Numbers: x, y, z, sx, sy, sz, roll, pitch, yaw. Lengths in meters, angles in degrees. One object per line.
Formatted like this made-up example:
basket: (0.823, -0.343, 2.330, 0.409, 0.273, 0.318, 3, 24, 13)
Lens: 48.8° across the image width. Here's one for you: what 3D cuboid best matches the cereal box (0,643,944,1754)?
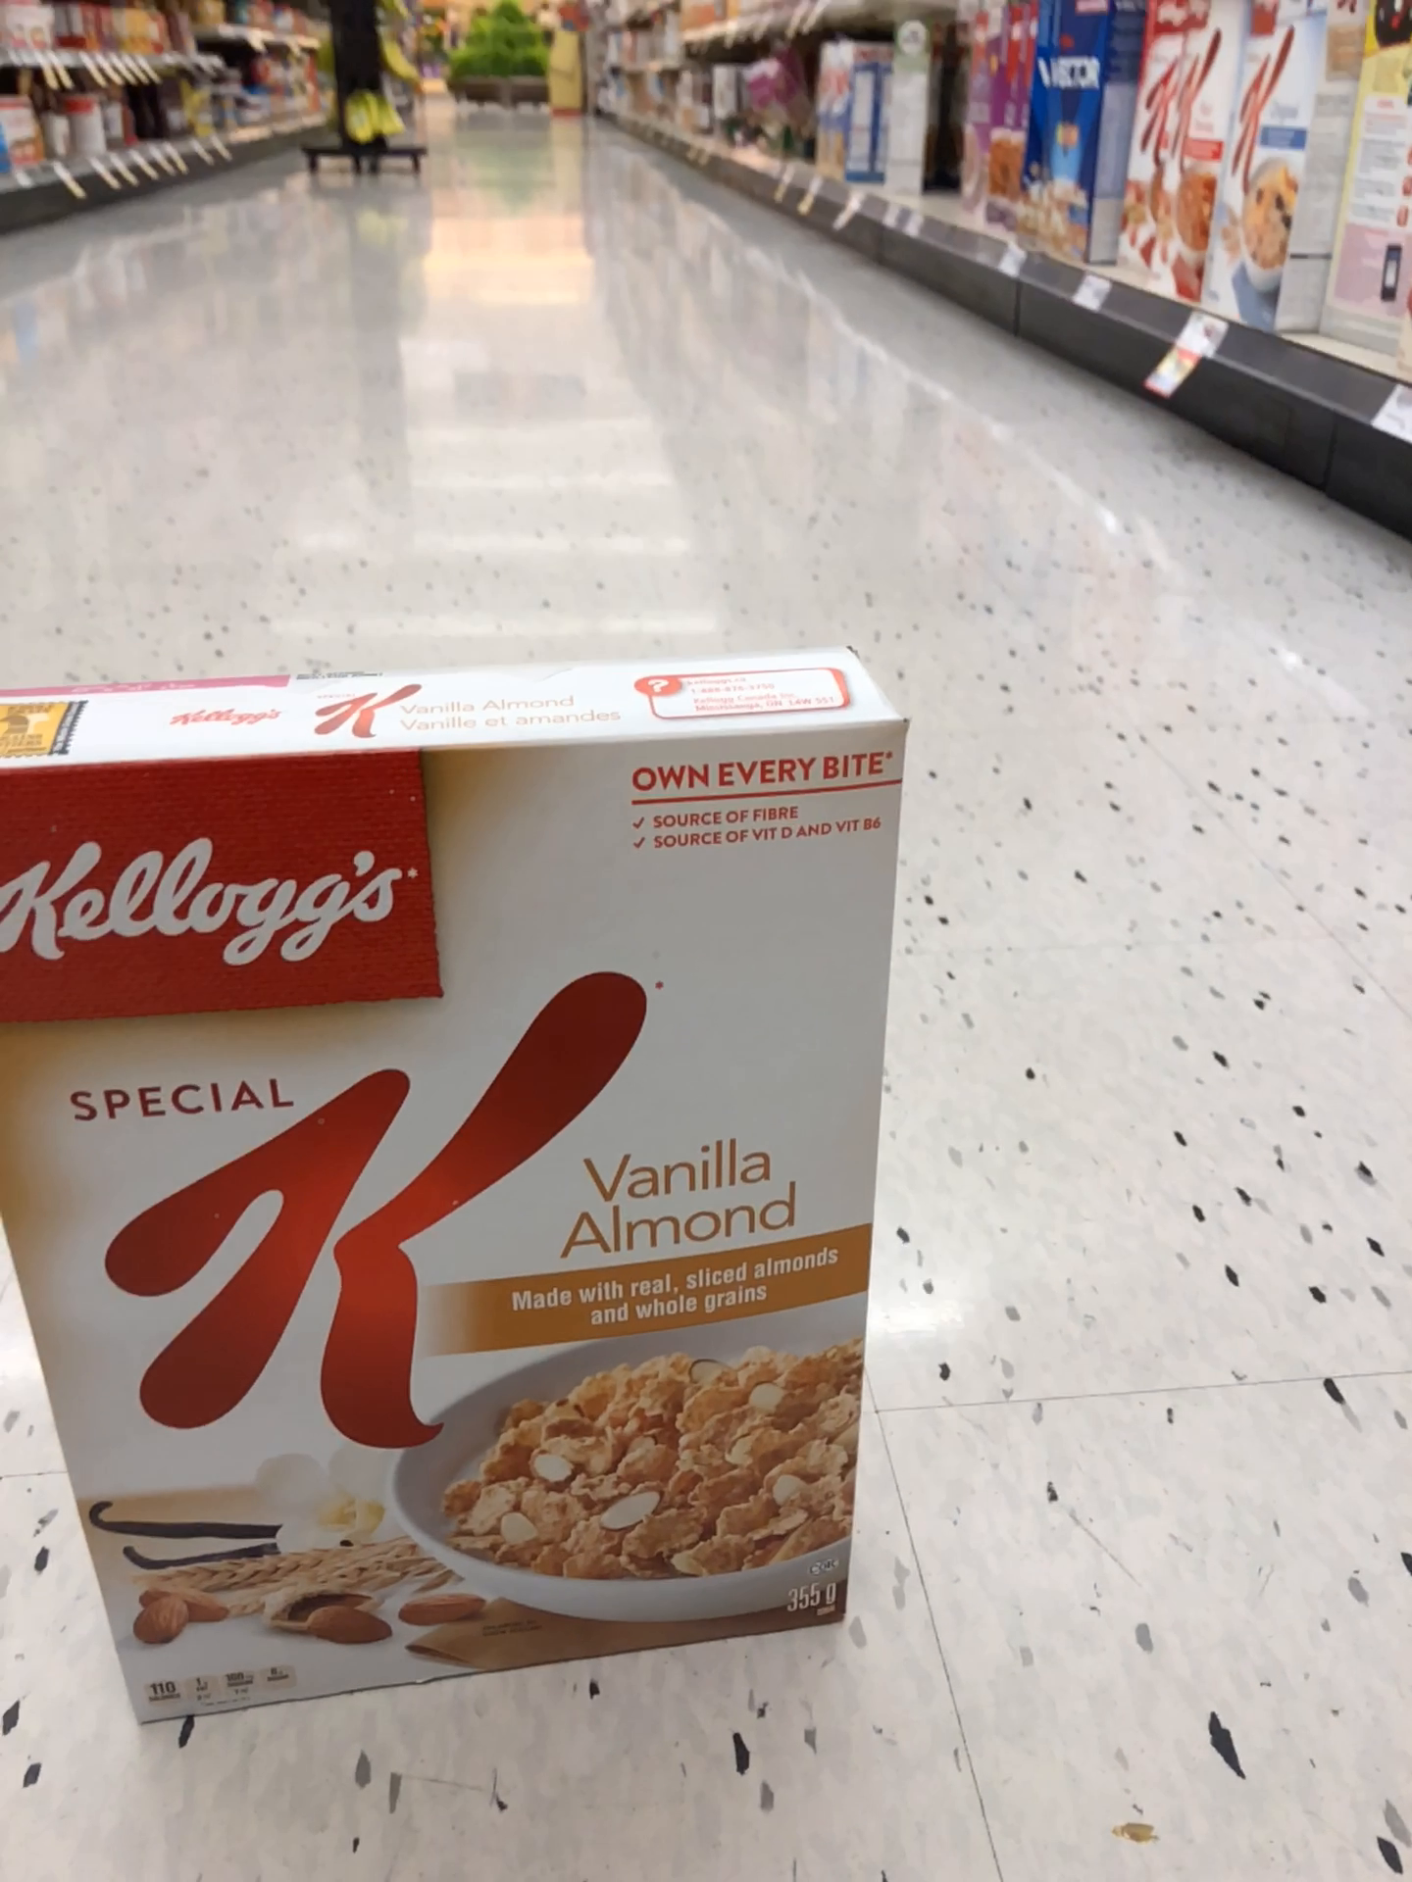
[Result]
cereal box: (-0.058, 0.068, 0.365, 0.200, 0.259, 0.050, -4, 27, -9)
